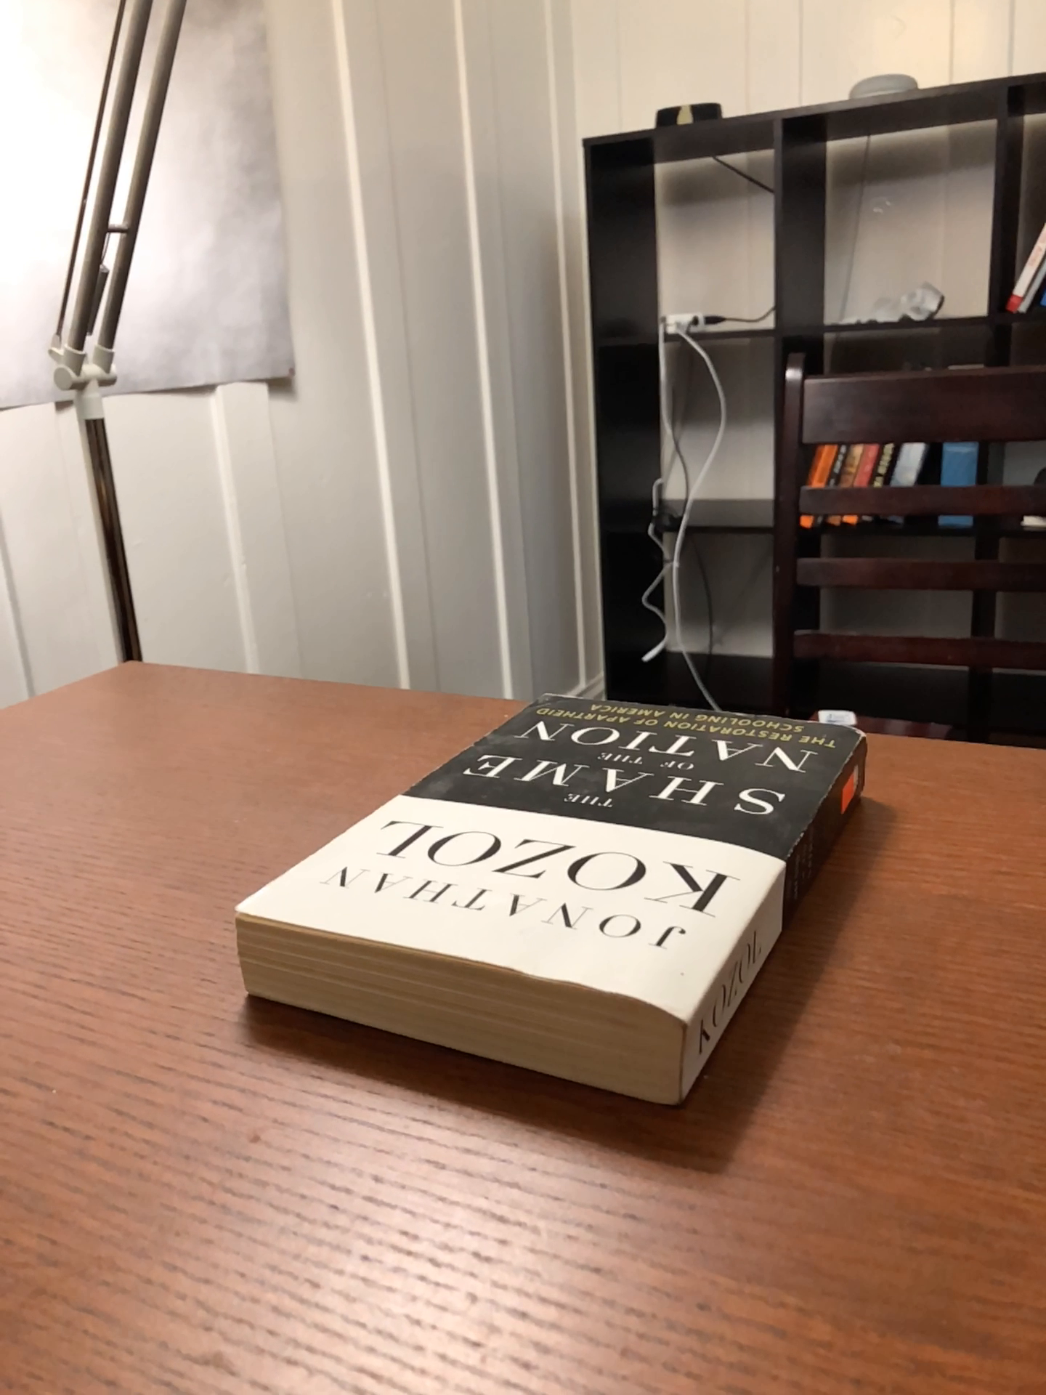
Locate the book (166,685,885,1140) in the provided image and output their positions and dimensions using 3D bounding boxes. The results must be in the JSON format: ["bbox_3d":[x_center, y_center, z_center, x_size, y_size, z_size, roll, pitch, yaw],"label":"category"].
[{"bbox_3d":[0.021,0.049,0.400,0.160,0.030,0.231,5,20,27],"label":"book"}]
